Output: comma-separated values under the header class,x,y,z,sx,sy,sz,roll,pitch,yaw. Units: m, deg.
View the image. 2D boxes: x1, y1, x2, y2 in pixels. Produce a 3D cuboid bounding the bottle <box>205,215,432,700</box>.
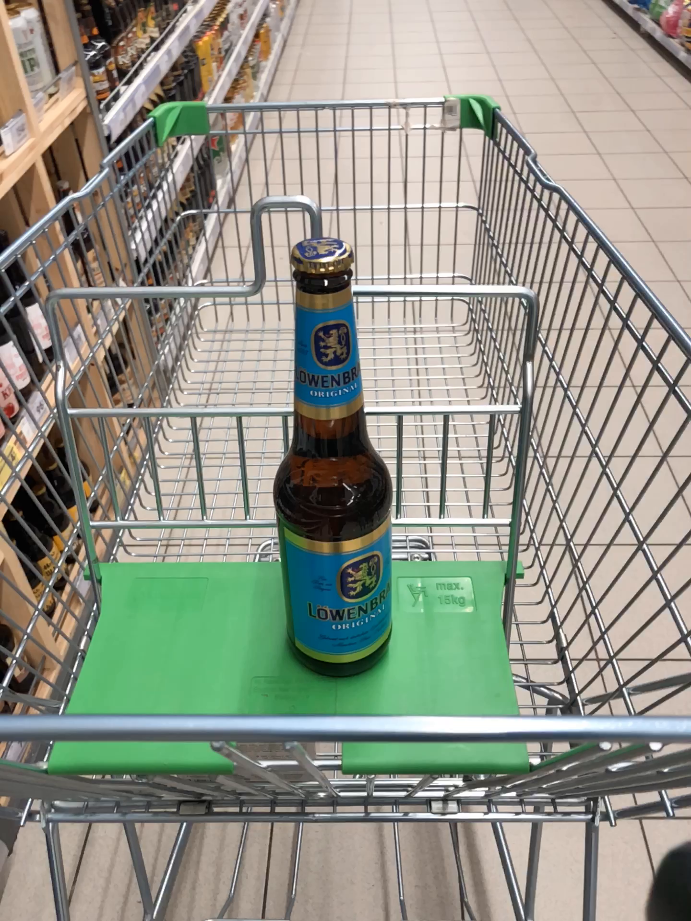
class,x,y,z,sx,sy,sz,roll,pitch,yaw
bottle,-0.007,0.011,0.403,0.080,0.249,0.070,-15,39,-14
